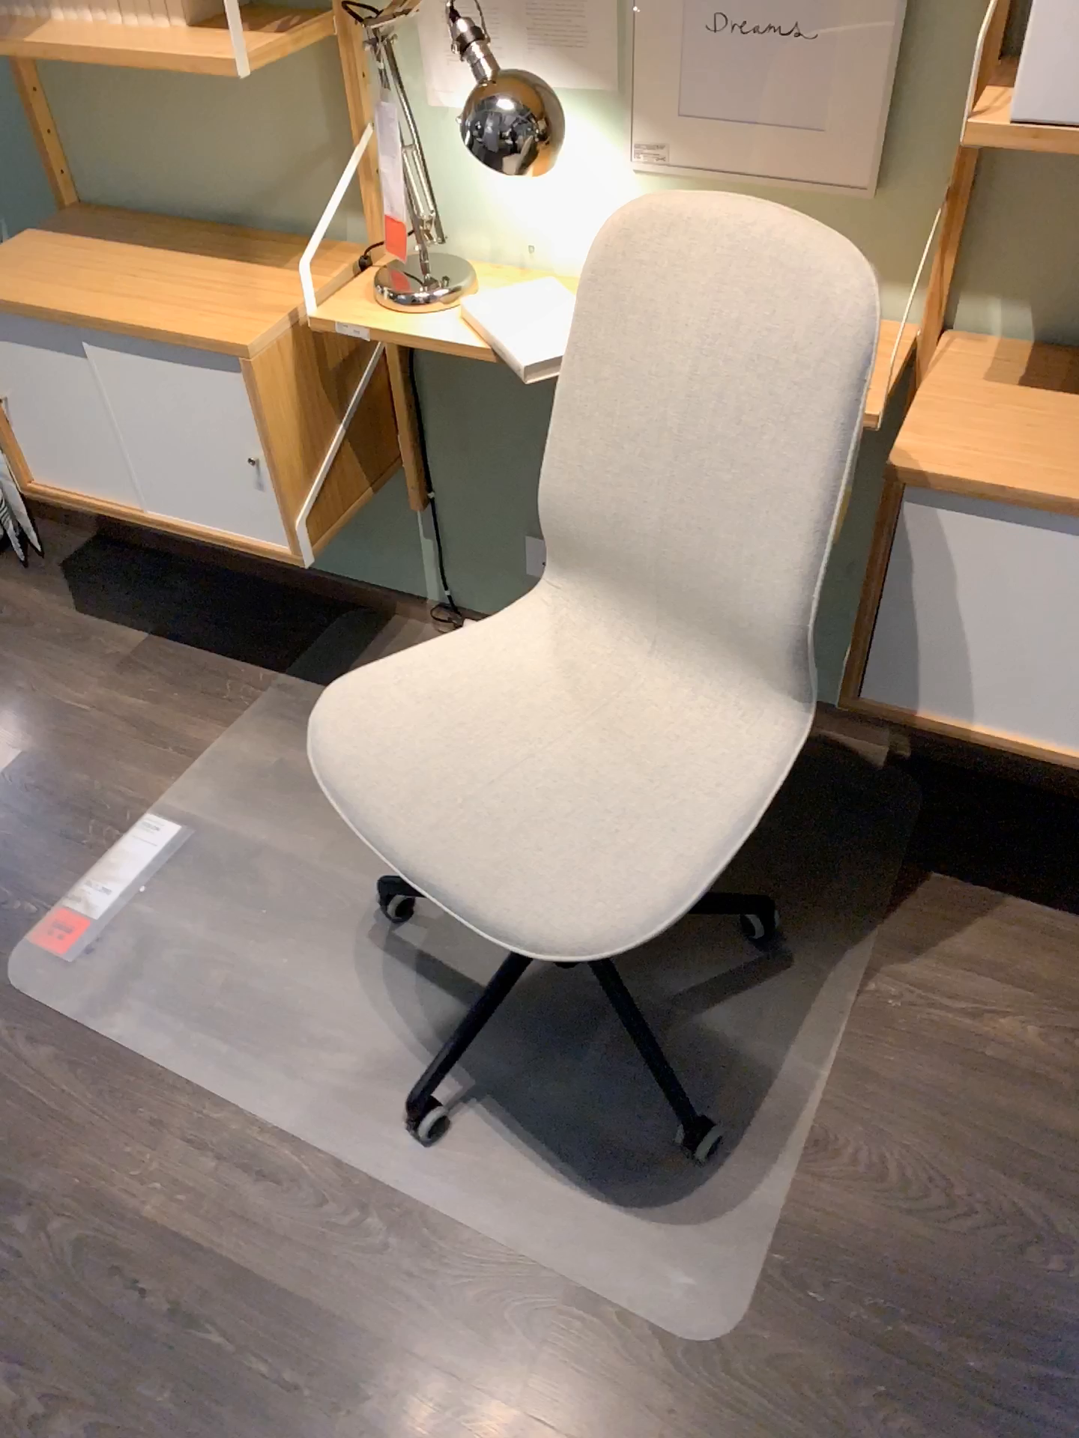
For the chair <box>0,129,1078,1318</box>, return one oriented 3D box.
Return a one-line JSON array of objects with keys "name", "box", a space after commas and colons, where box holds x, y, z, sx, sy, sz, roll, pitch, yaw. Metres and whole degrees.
[{"name": "chair", "box": [0.021, 0.017, 1.204, 0.621, 0.966, 0.622, -35, 52, -28]}]
